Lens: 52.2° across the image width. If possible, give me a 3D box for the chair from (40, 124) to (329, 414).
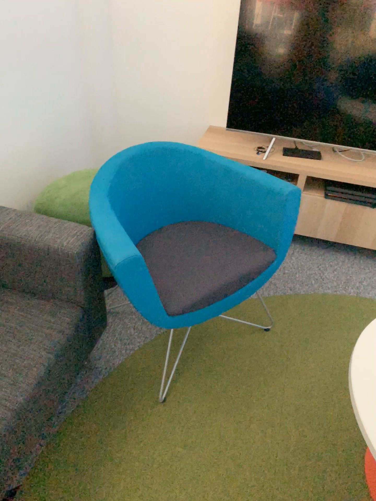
[{"bbox_3d":[-0.026,0.008,1.513,0.762,0.686,0.622,-24,46,-31],"label":"chair"}]
